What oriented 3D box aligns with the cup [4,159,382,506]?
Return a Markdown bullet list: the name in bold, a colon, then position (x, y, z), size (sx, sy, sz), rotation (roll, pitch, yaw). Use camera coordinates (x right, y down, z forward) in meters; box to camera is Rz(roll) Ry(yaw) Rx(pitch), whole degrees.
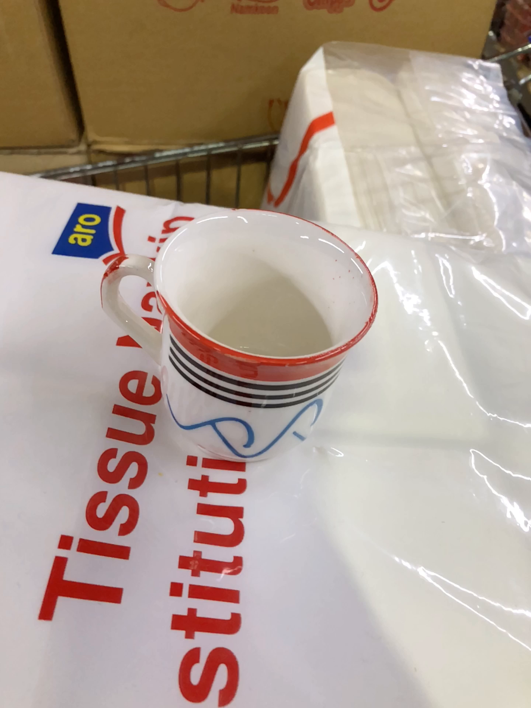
- **cup**: position (-0.018, -0.007, 0.192), size (0.090, 0.060, 0.070), rotation (15, 50, 3)
